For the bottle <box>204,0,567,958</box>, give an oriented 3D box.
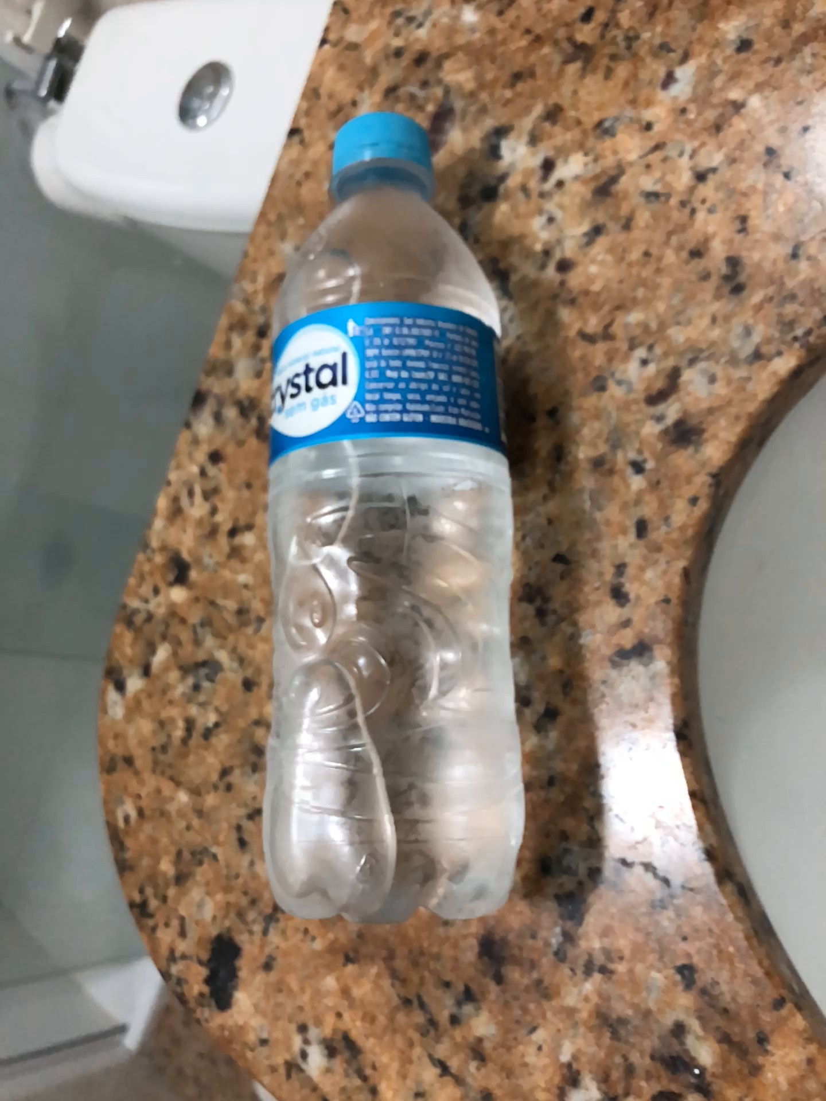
[{"bbox_3d":[-0.009,-0.022,0.249,0.070,0.050,0.230,-10,73,31],"label":"bottle"}]
